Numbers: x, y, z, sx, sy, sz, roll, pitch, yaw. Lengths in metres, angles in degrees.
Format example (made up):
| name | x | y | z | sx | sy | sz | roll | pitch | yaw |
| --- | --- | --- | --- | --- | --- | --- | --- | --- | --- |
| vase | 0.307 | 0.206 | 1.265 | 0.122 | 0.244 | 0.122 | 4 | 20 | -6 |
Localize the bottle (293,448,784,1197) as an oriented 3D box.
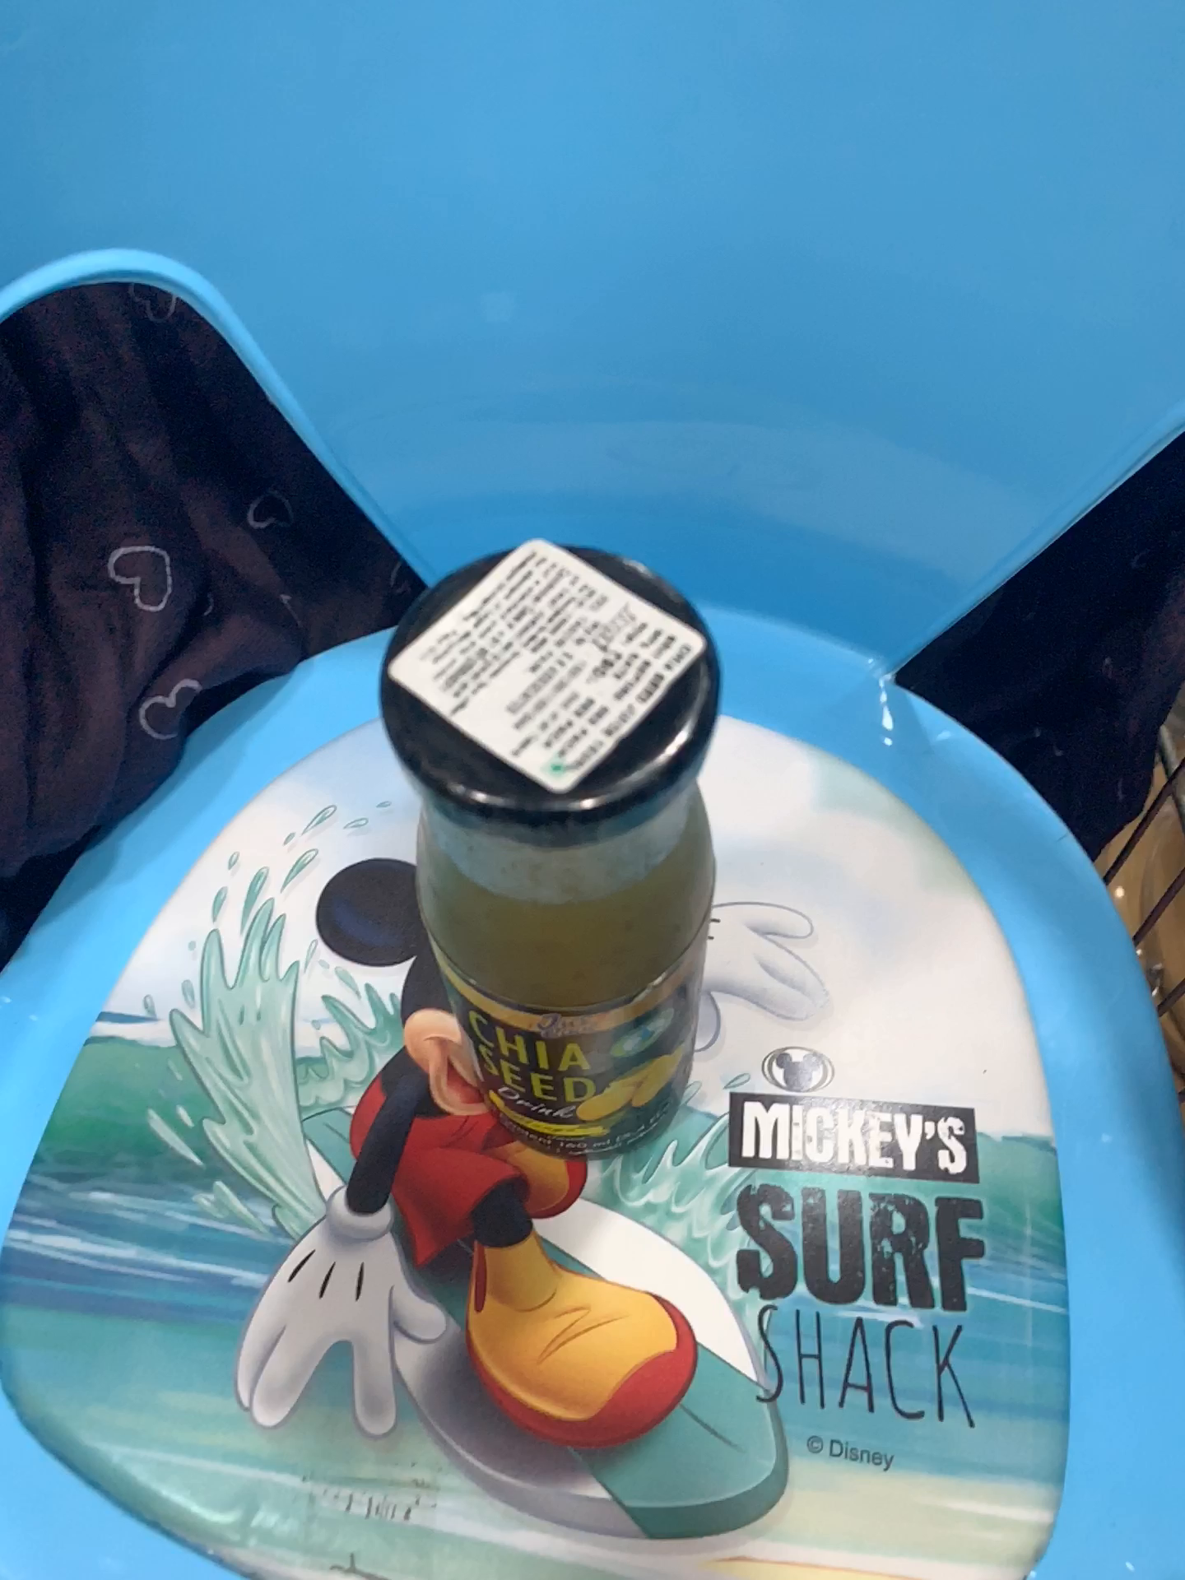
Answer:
| name | x | y | z | sx | sy | sz | roll | pitch | yaw |
| --- | --- | --- | --- | --- | --- | --- | --- | --- | --- |
| bottle | -0.003 | 0.017 | 0.209 | 0.050 | 0.140 | 0.050 | -1 | 54 | 1 |
